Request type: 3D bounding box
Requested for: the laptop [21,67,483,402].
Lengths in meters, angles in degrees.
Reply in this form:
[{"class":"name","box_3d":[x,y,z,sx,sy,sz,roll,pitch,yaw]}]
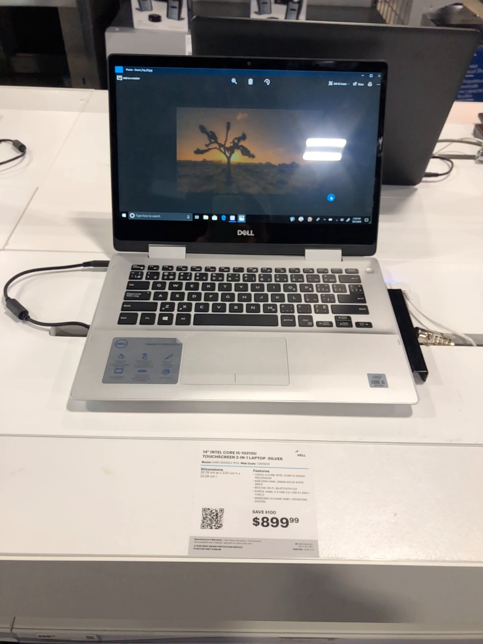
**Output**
[{"class":"laptop","box_3d":[0.005,-0.110,0.545,0.311,0.195,0.328,1,41,1]}]
